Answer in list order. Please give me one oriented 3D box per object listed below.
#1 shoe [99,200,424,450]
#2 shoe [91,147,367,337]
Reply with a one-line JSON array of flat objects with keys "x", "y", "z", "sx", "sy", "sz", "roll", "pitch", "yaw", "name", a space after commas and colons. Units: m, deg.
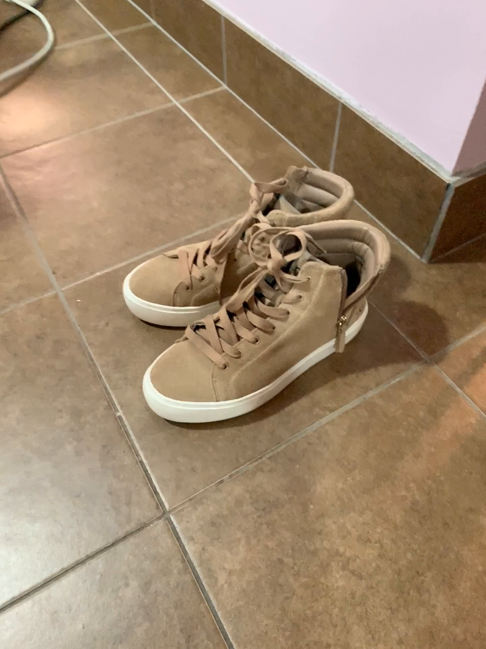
[{"x": 0.018, "y": -0.004, "z": 0.495, "sx": 0.270, "sy": 0.119, "sz": 0.113, "roll": -21, "pitch": 55, "yaw": -14, "name": "shoe"}, {"x": -0.016, "y": -0.089, "z": 0.538, "sx": 0.254, "sy": 0.117, "sz": 0.106, "roll": -13, "pitch": 53, "yaw": -8, "name": "shoe"}]
